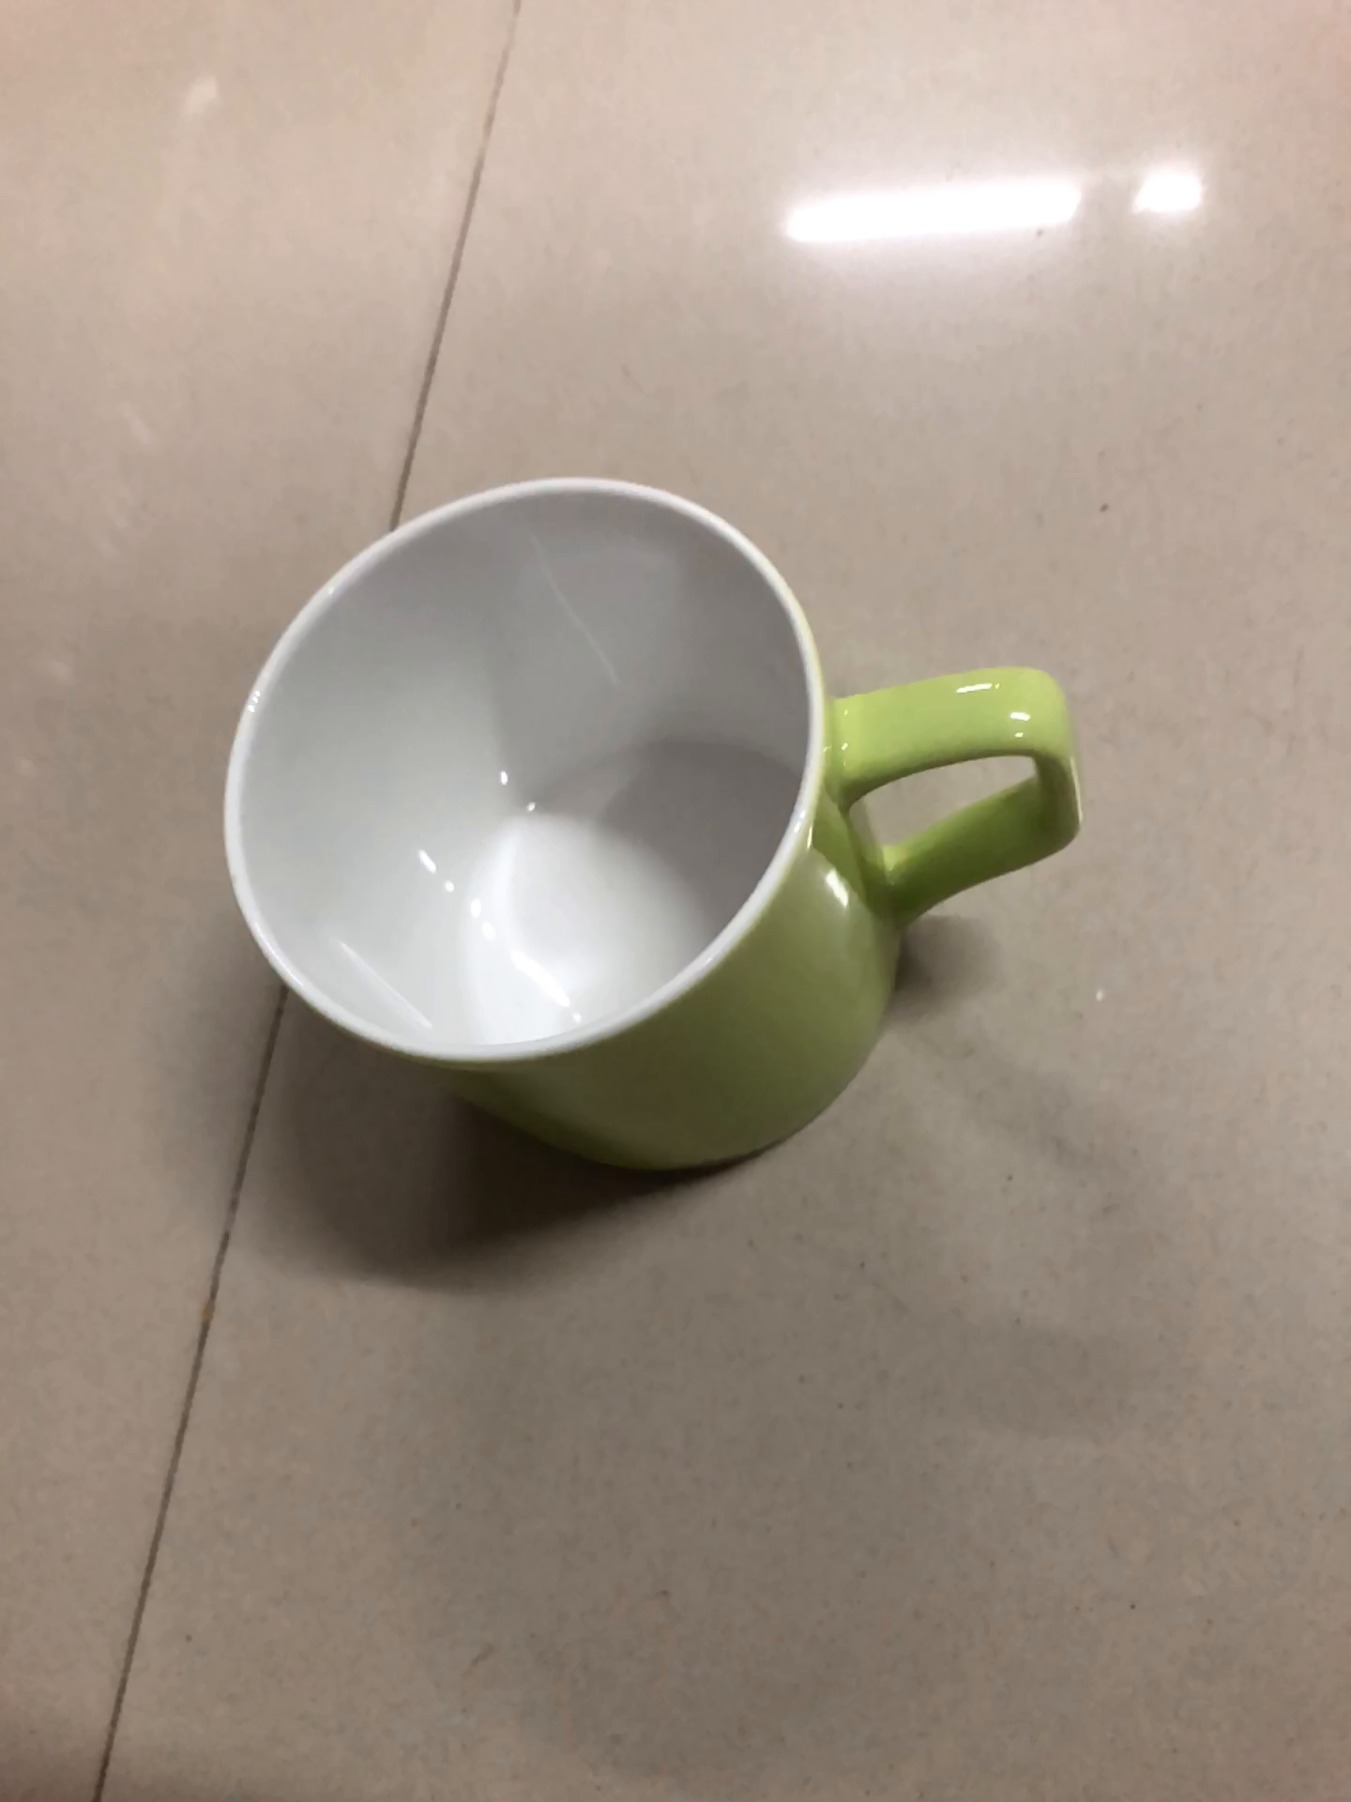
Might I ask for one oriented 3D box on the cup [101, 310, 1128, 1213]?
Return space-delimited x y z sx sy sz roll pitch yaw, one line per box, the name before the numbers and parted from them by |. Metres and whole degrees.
cup | -0.001 -0.007 0.192 0.100 0.080 0.070 -8 67 14
